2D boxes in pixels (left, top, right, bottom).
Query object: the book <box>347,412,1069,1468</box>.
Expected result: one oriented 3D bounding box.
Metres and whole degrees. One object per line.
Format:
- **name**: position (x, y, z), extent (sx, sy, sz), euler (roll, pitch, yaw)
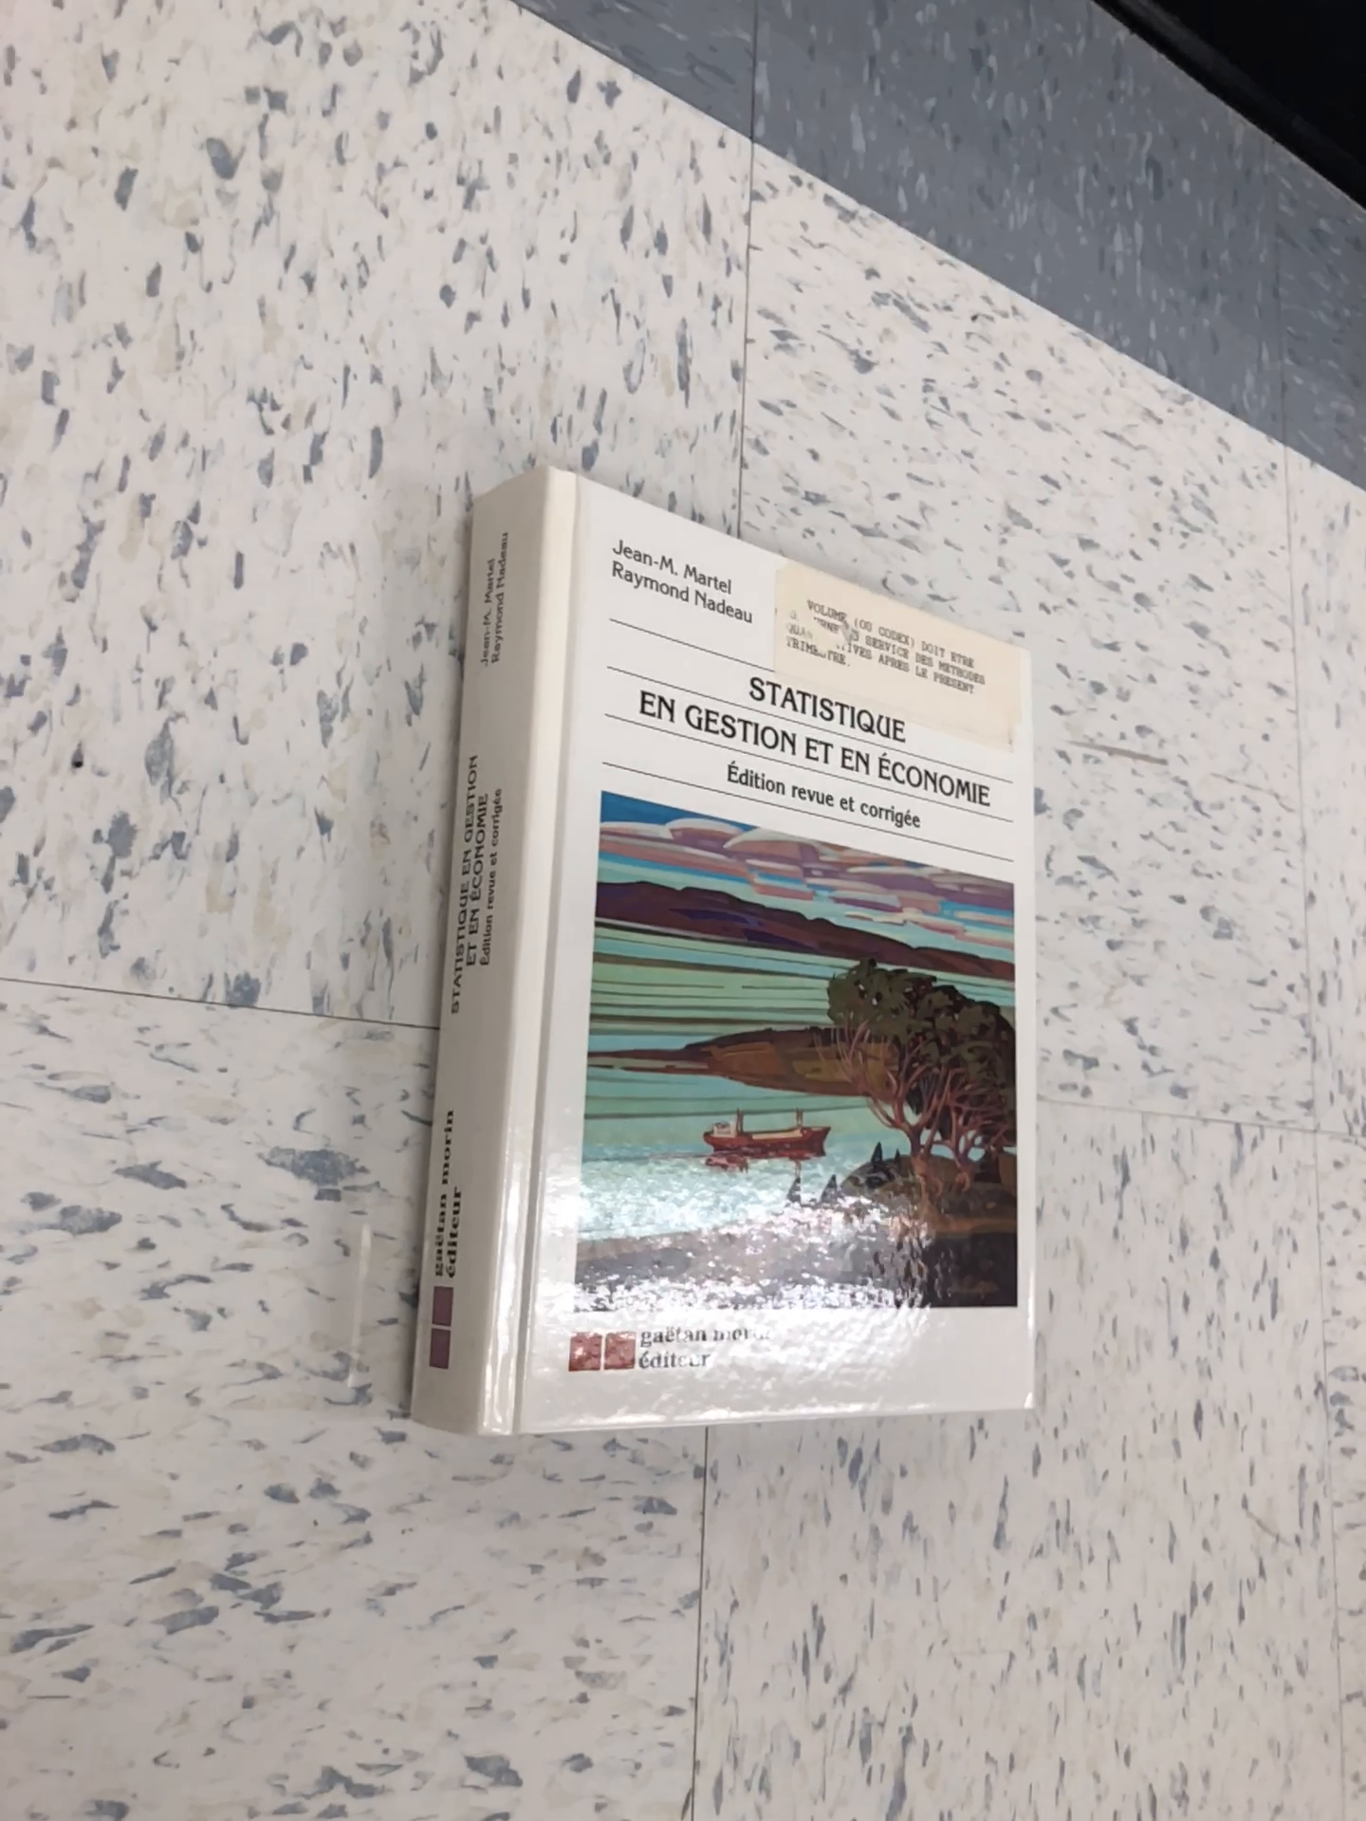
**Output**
- **book**: position (0.018, 0.016, 0.417), extent (0.191, 0.060, 0.240), euler (10, 76, -35)
